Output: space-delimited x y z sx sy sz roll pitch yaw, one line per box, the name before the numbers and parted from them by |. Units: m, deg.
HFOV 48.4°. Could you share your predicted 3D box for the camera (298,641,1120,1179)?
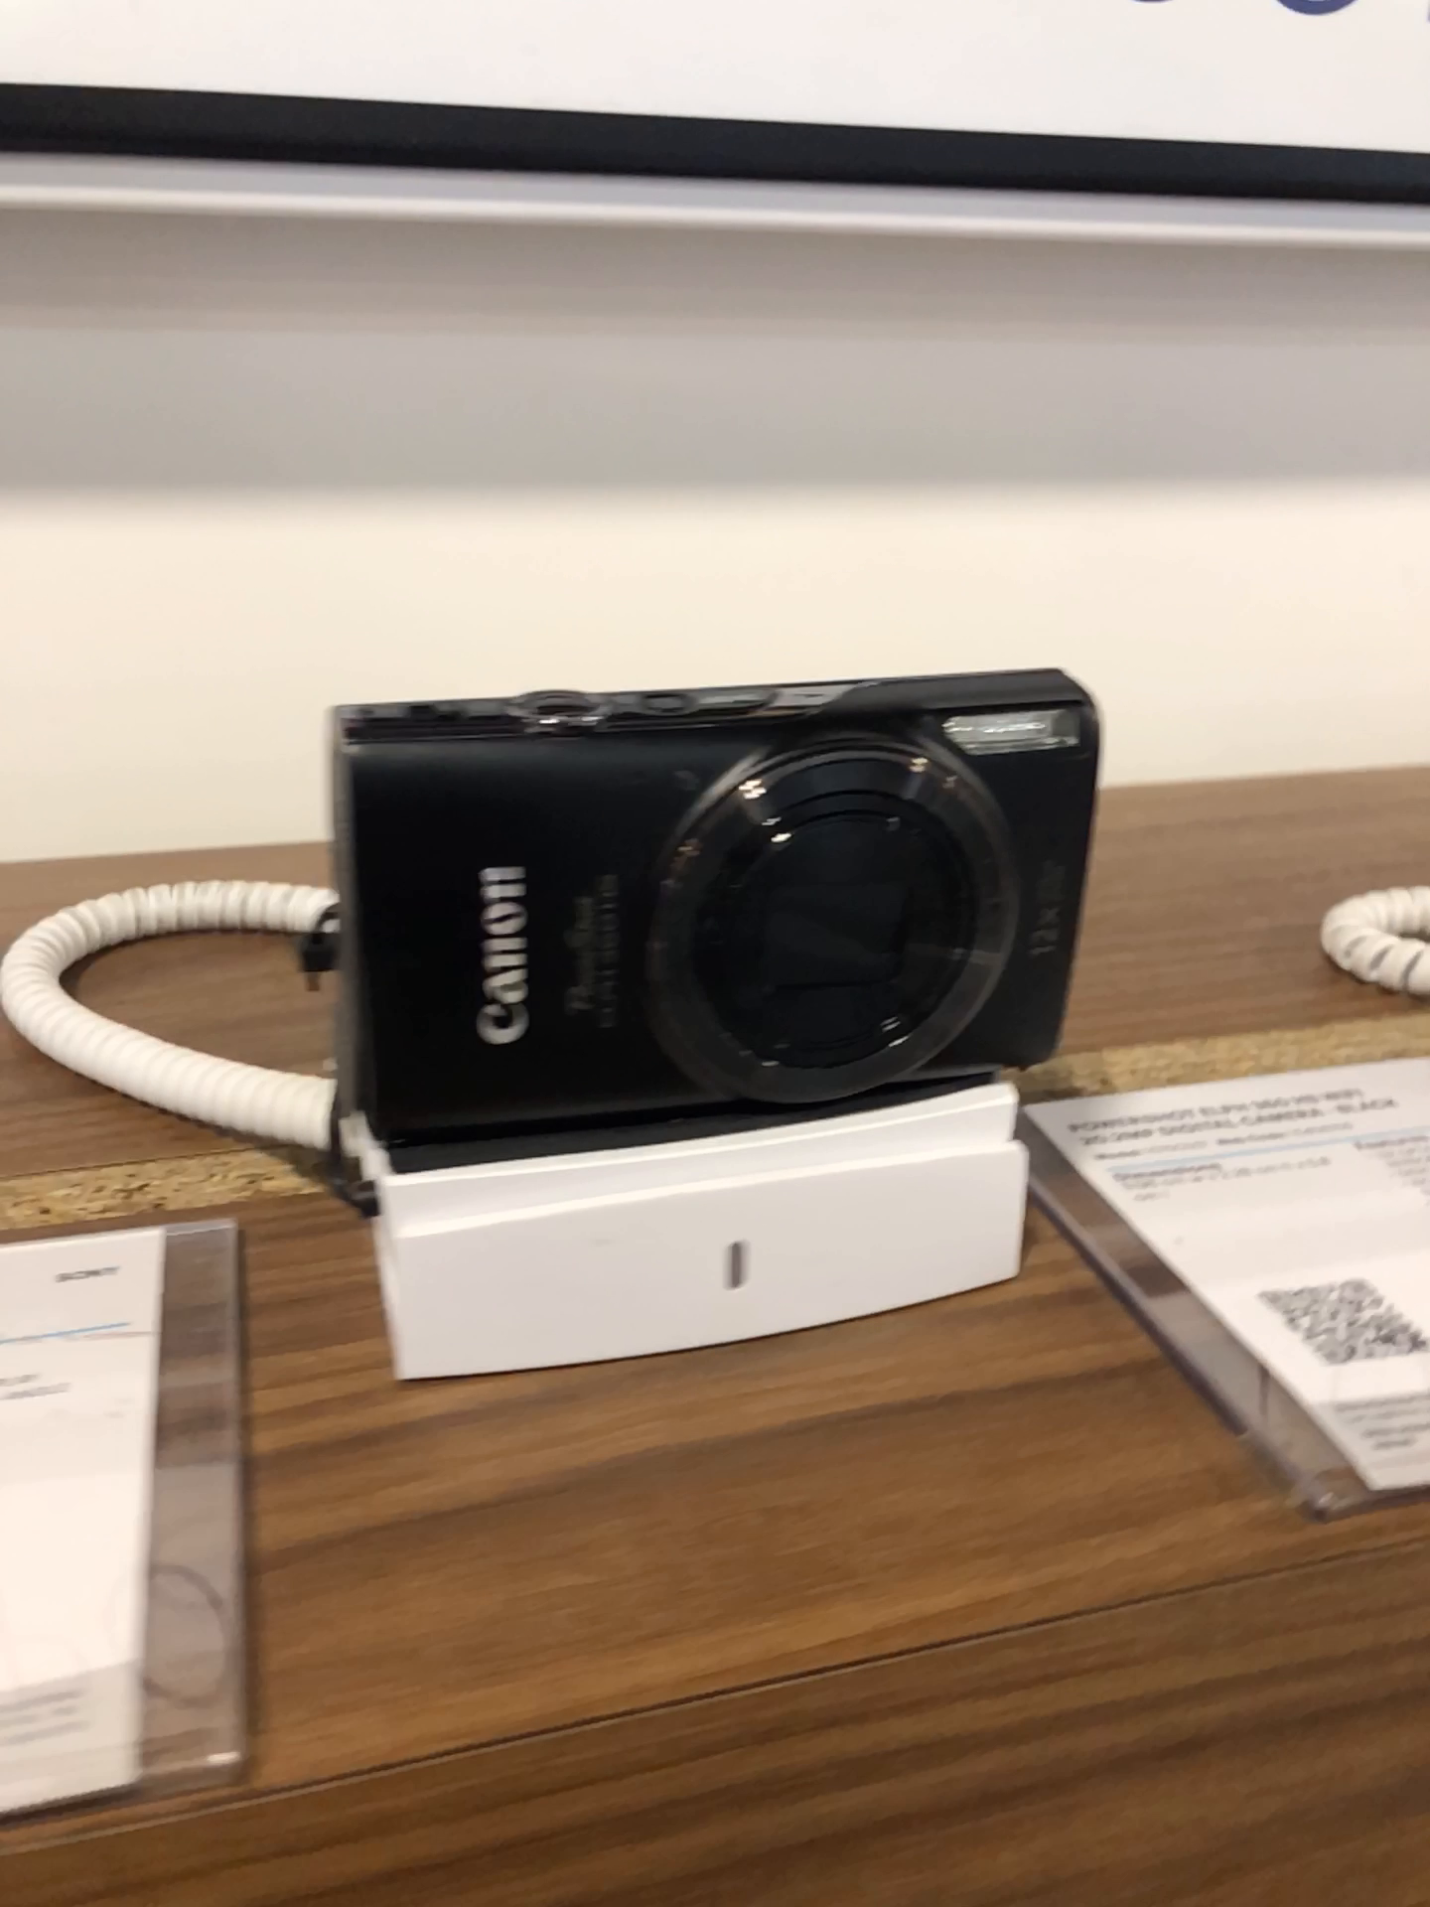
camera | -0.001 -0.009 0.212 0.100 0.056 0.030 -6 21 -16
